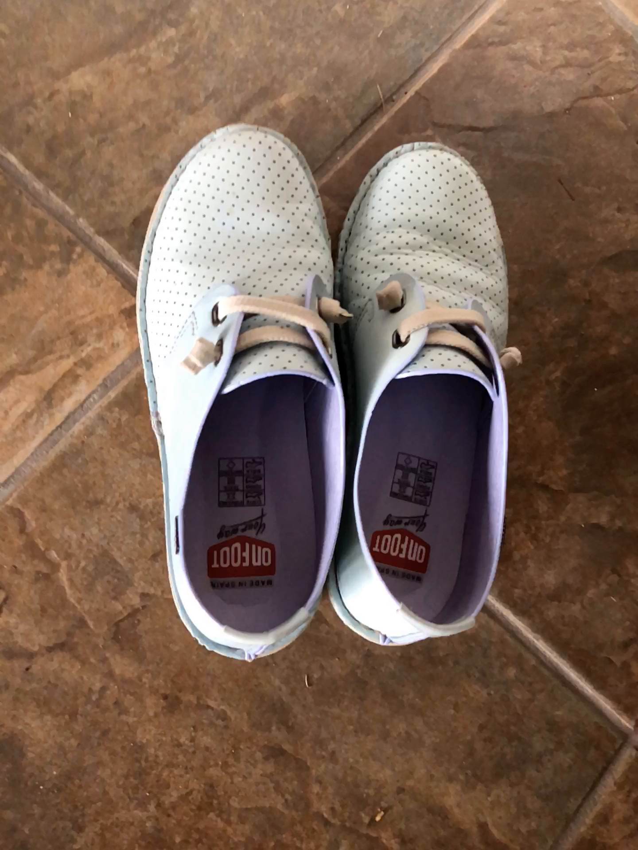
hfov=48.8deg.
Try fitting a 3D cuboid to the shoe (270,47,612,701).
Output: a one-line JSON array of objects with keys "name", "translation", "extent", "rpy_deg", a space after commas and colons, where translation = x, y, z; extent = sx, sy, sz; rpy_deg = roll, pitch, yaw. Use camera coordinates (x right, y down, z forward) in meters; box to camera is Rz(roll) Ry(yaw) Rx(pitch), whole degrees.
[{"name": "shoe", "translation": [0.052, -0.019, 0.328], "extent": [0.100, 0.100, 0.250], "rpy_deg": [9, 82, -11]}]

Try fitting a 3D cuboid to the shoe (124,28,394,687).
[{"name": "shoe", "translation": [-0.032, -0.026, 0.321], "extent": [0.100, 0.100, 0.250], "rpy_deg": [1, 84, -12]}]
